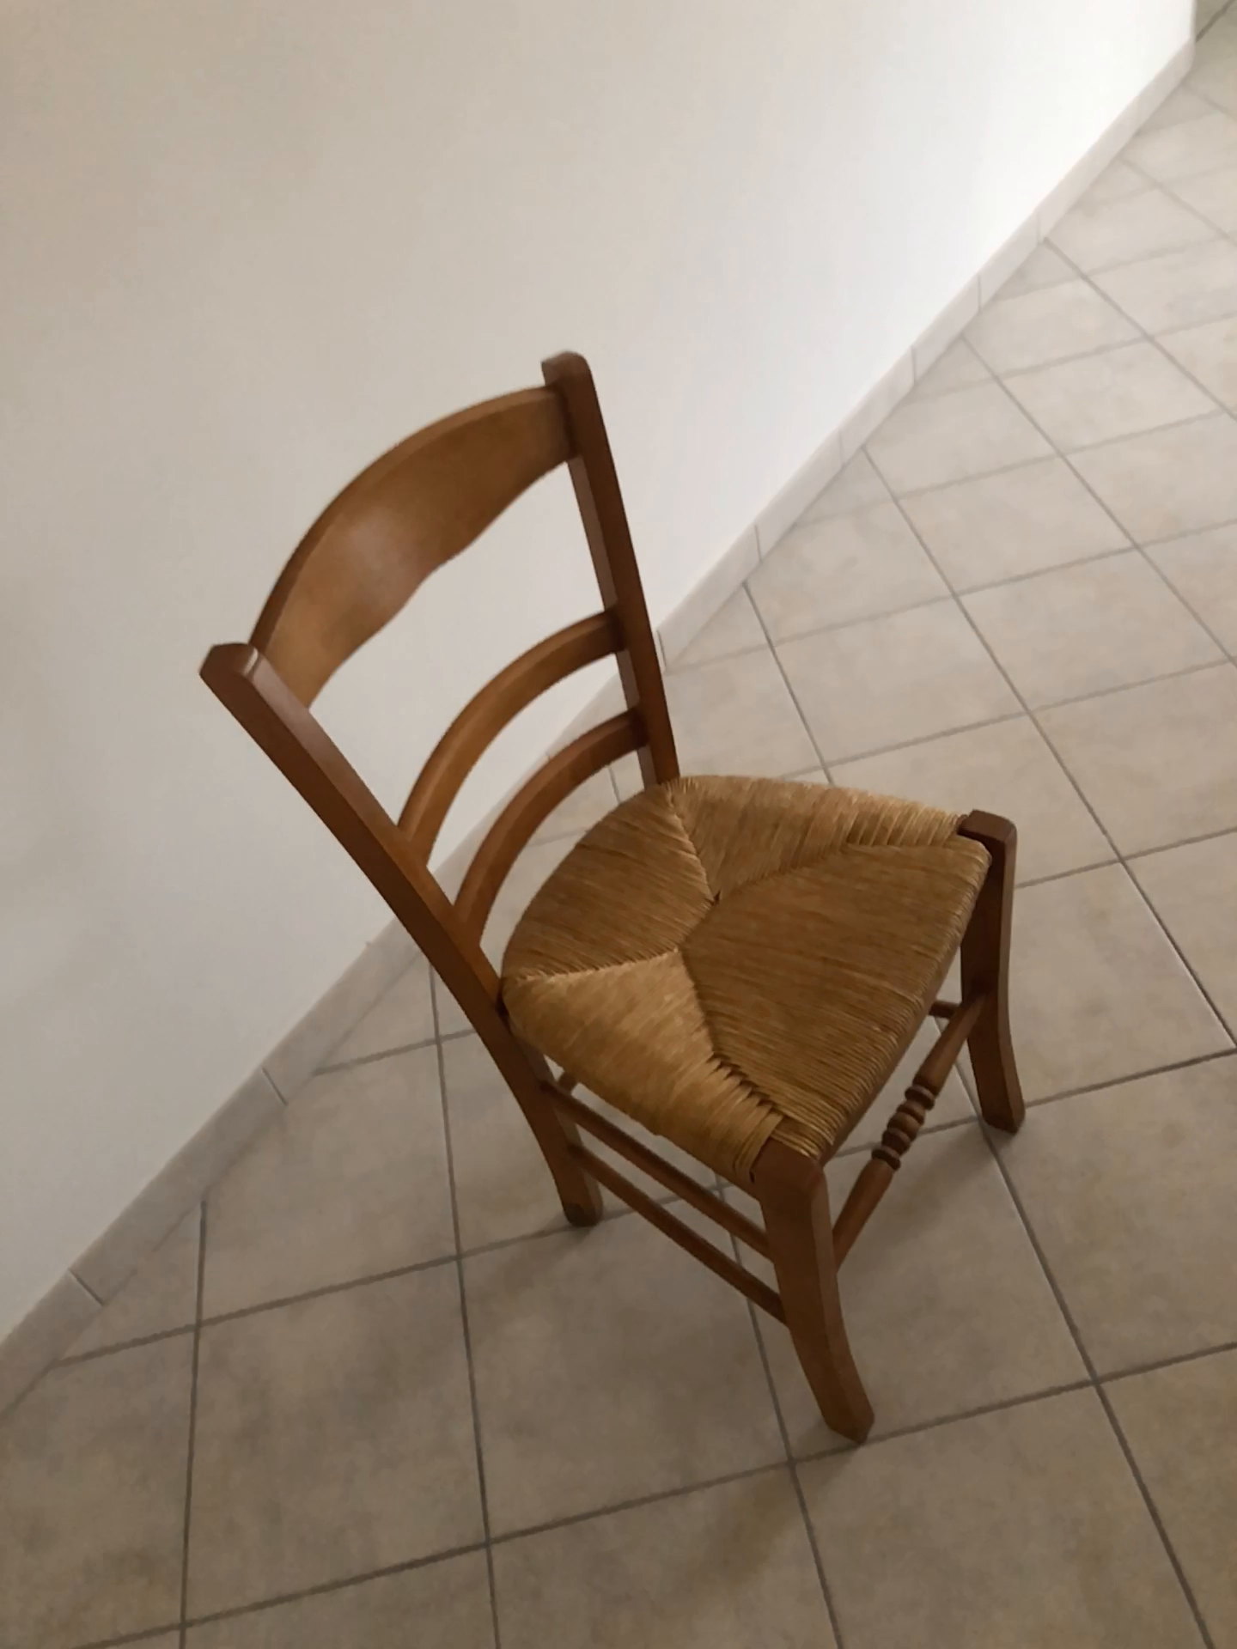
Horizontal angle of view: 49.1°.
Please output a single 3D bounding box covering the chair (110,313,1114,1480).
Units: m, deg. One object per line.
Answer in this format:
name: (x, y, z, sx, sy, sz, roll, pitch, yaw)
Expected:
chair: (0.070, 0.083, 1.170, 0.500, 0.826, 0.452, 19, 54, 30)
